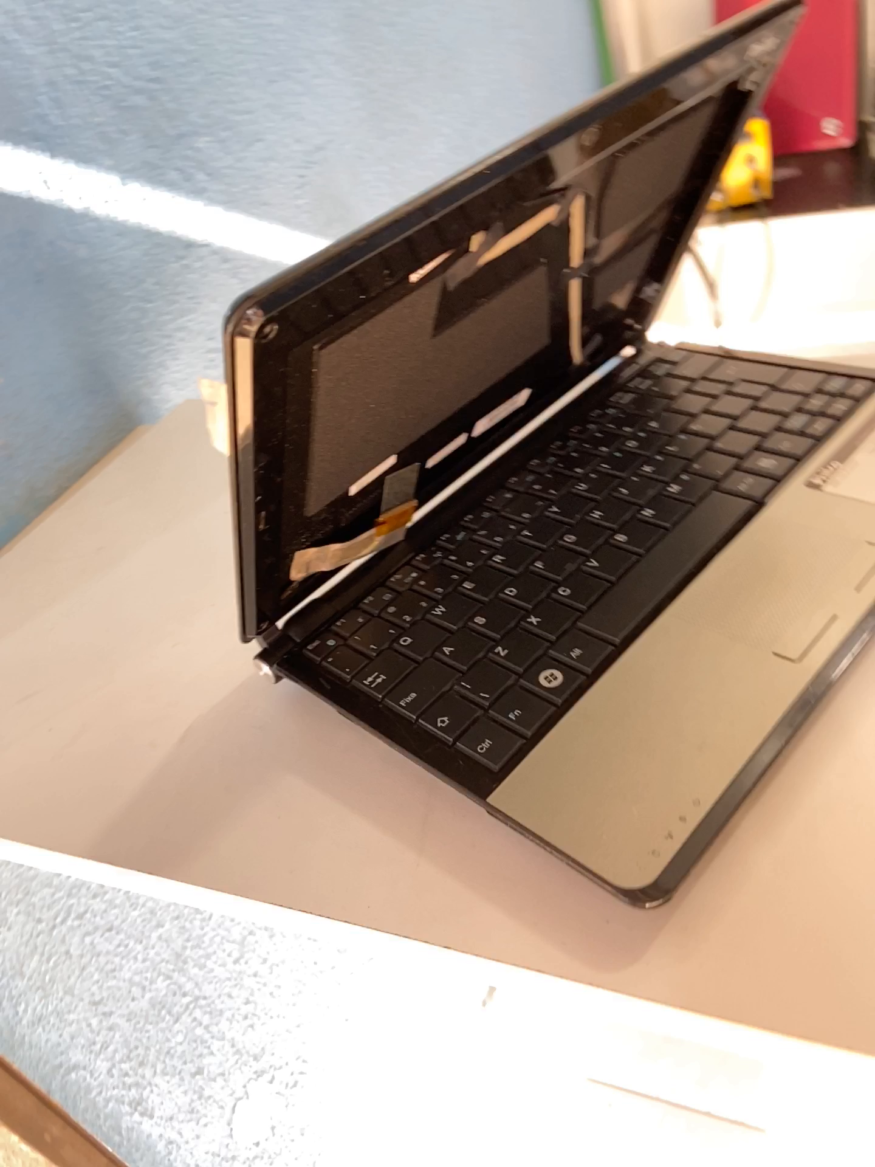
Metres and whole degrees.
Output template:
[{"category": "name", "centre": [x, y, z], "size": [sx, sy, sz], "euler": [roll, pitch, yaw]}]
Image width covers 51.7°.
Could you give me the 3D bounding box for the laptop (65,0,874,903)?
[{"category": "laptop", "centre": [0.065, -0.080, 0.316], "size": [0.177, 0.144, 0.276], "euler": [23, 53, 42]}]
